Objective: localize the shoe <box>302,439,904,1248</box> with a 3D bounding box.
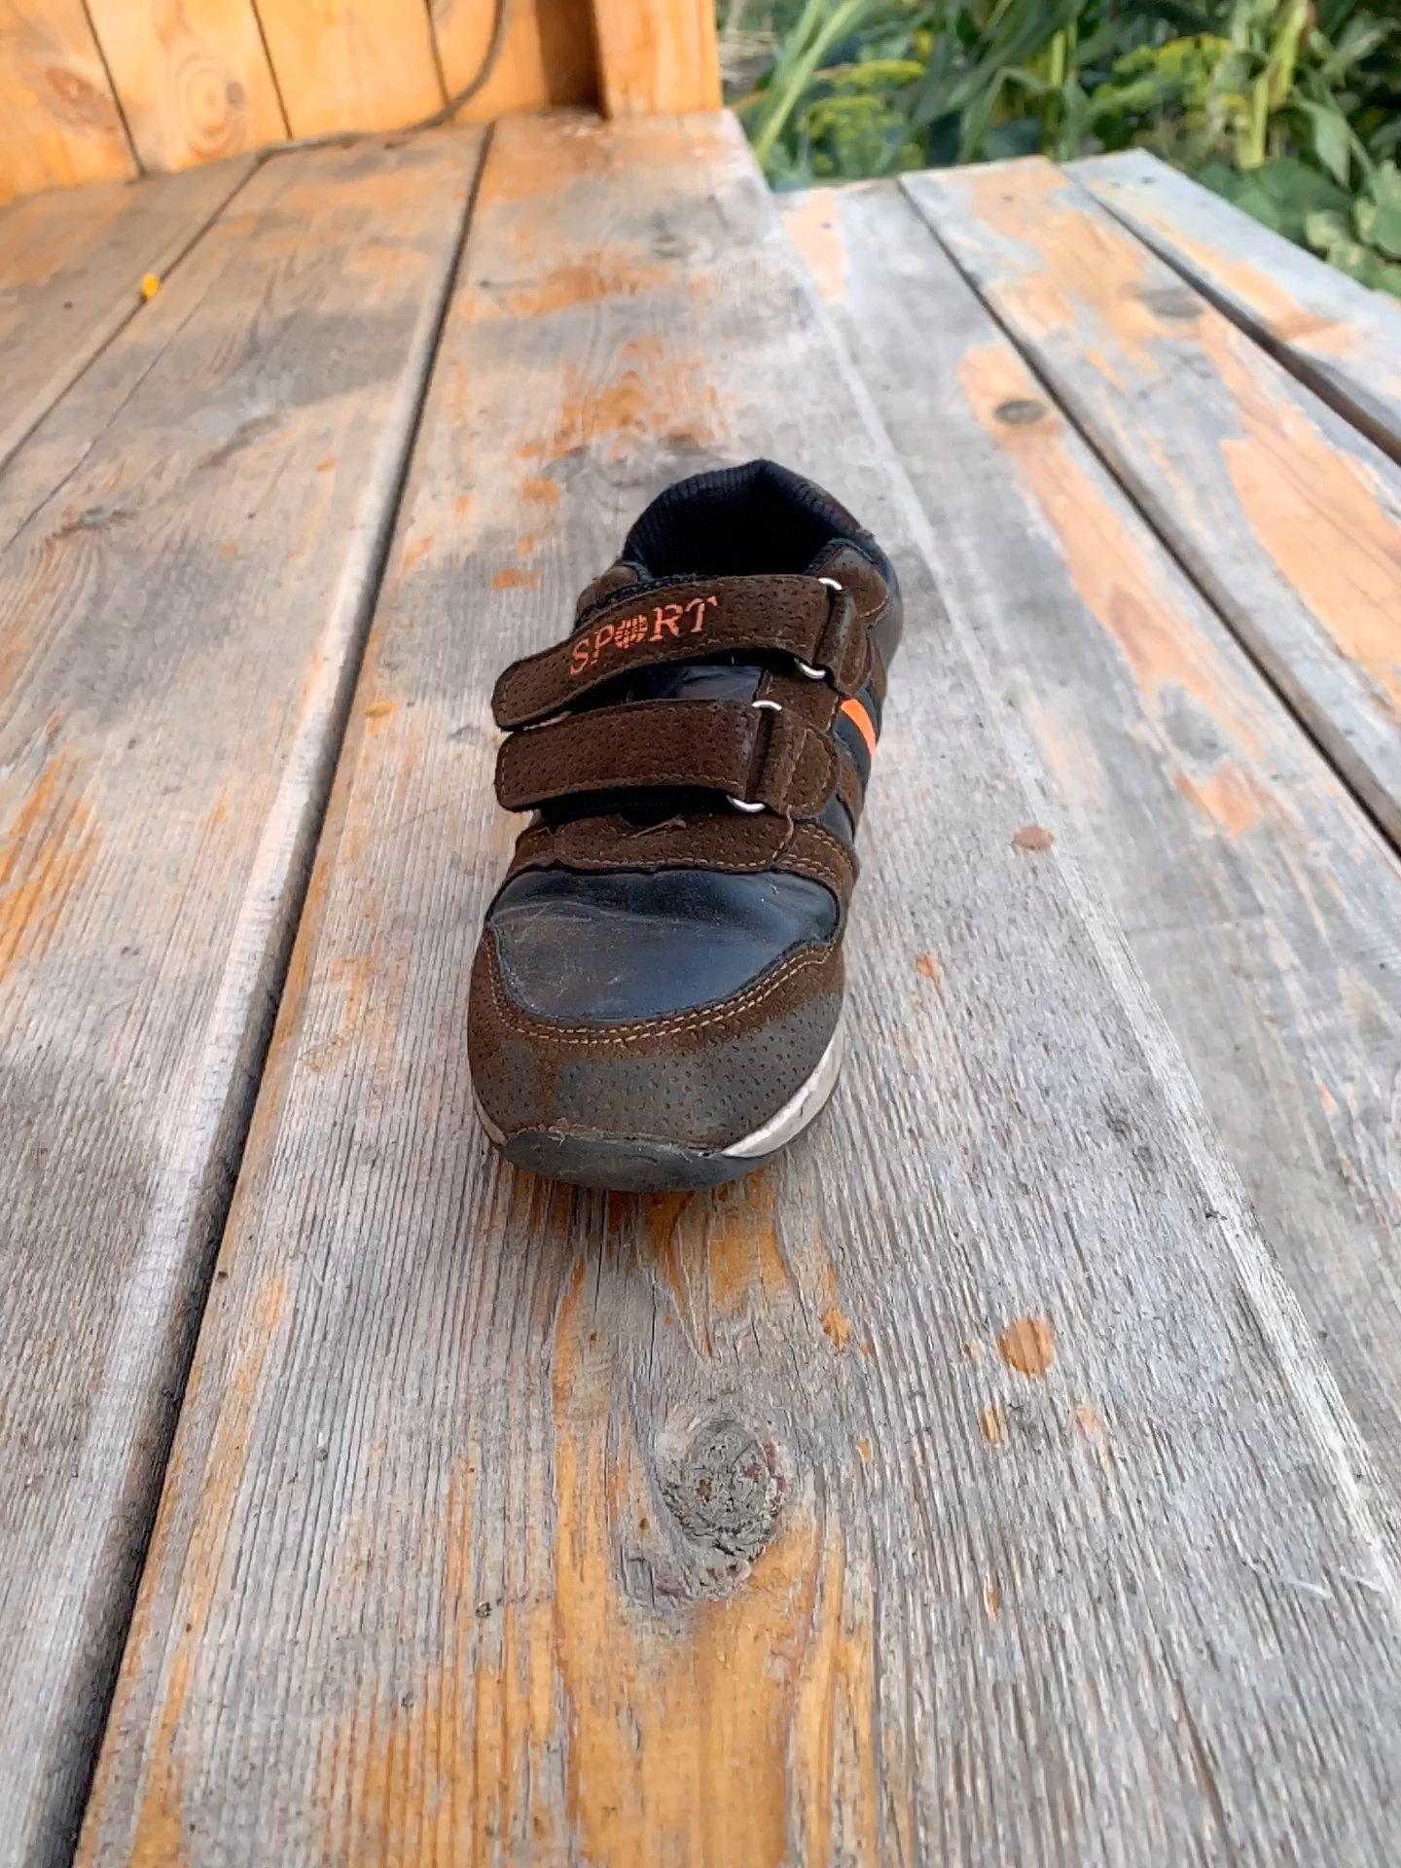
[{"bbox_3d":[-0.004,-0.033,0.341,0.090,0.089,0.192,0,39,12],"label":"shoe"}]
